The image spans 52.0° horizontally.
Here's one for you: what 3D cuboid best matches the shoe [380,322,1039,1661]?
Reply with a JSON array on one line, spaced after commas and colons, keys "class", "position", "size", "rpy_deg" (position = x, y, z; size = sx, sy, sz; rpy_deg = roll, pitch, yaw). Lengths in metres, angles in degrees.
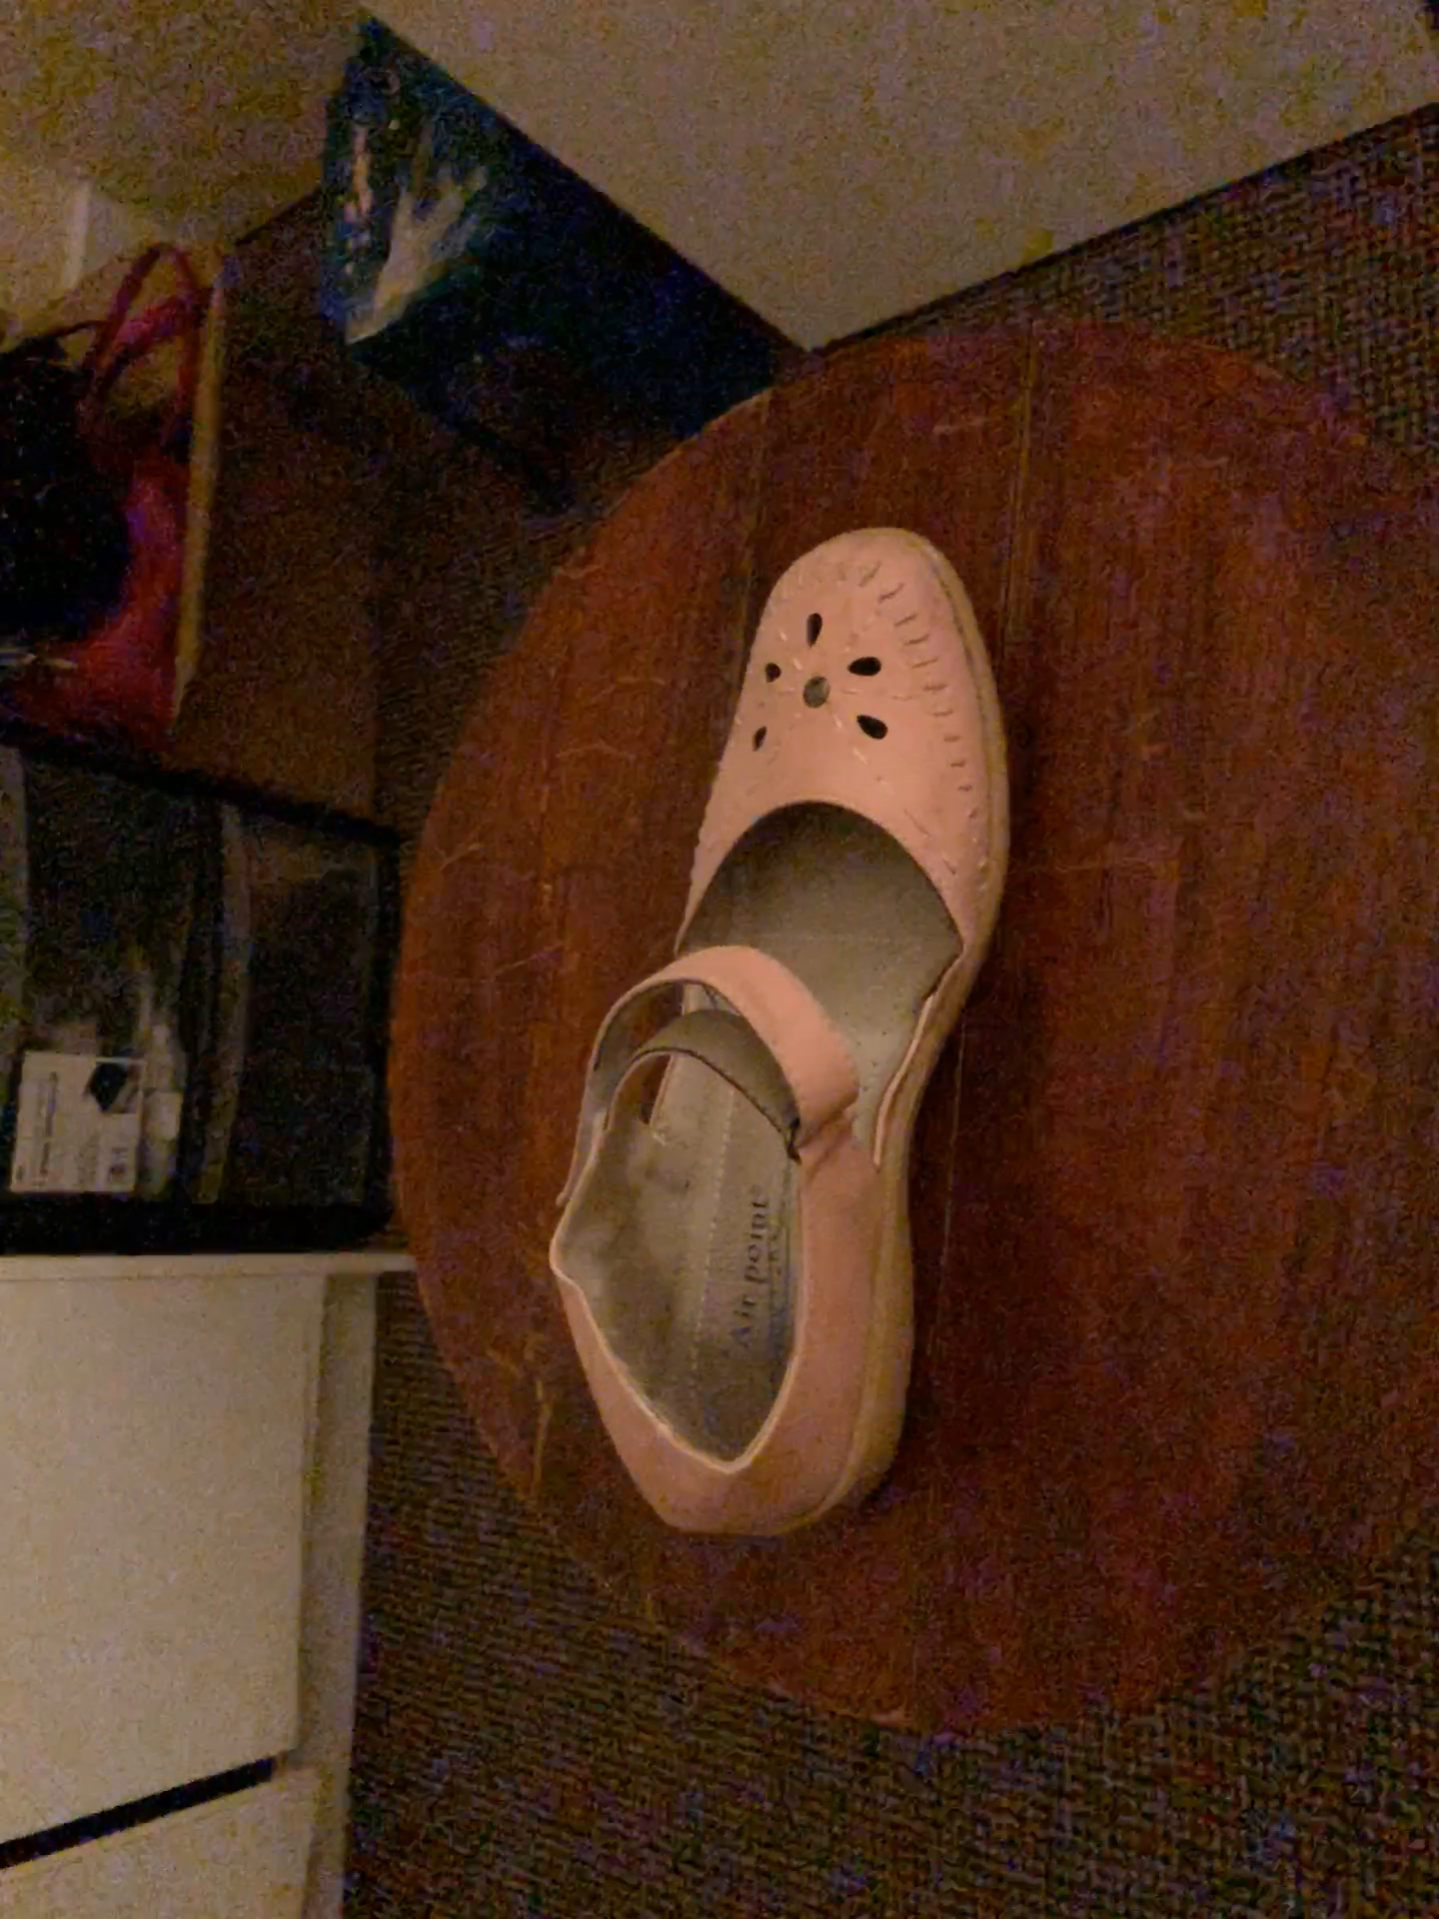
[{"class": "shoe", "position": [0.001, 0.006, 0.364], "size": [0.102, 0.092, 0.271], "rpy_deg": [0, 82, 40]}]
